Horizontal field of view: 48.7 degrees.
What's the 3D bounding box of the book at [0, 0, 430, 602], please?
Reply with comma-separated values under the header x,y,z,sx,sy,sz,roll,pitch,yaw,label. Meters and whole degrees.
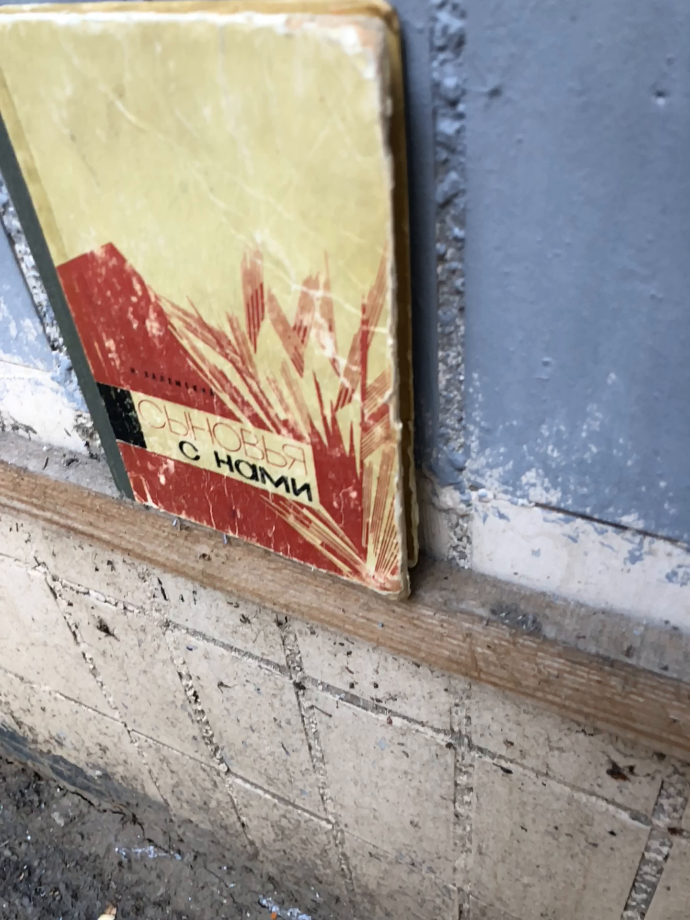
x,y,z,sx,sy,sz,roll,pitch,yaw,label
-0.042,-0.042,0.219,0.135,0.156,0.020,16,40,26,book
